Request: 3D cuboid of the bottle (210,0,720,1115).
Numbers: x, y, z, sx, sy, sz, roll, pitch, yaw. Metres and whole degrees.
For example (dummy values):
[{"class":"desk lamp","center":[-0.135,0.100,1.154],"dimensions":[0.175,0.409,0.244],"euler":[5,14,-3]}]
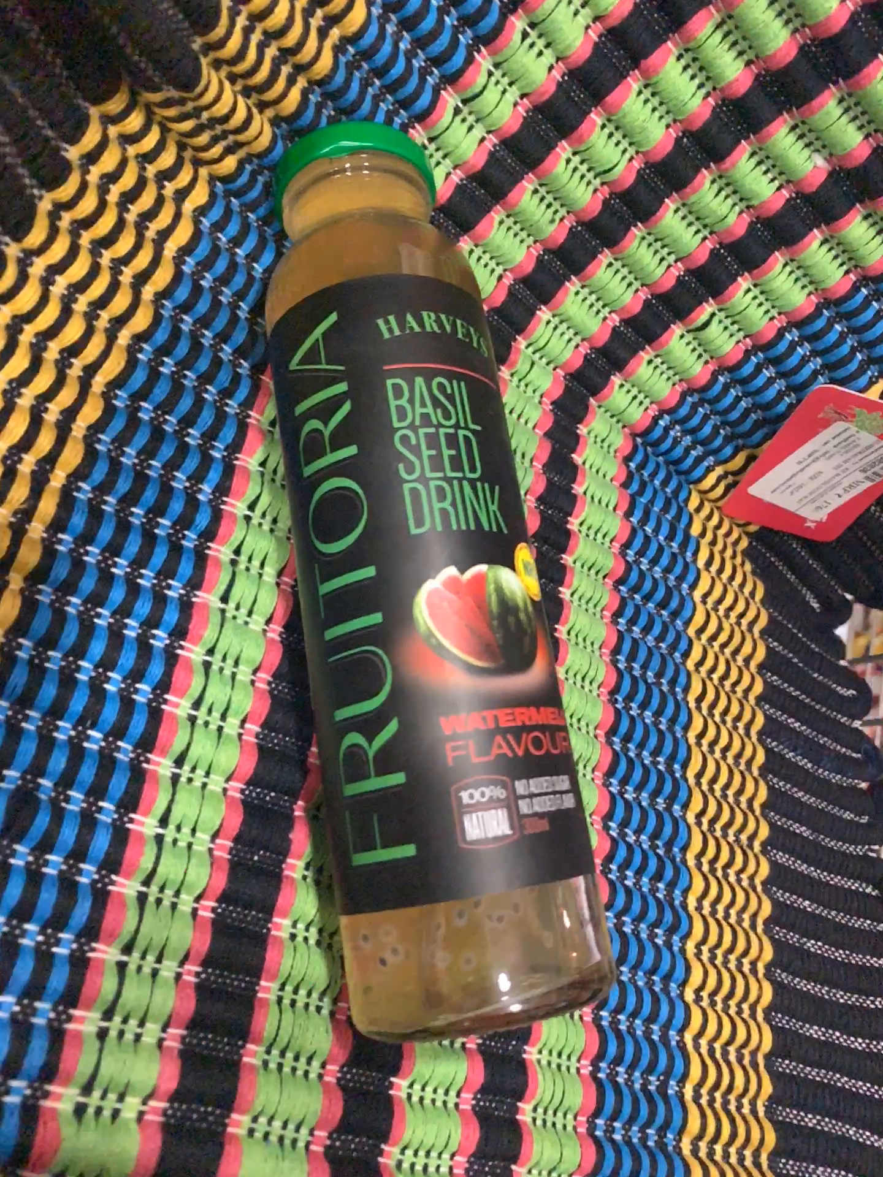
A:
[{"class":"bottle","center":[-0.006,-0.014,0.192],"dimensions":[0.060,0.060,0.200],"euler":[-2,75,-22]}]
